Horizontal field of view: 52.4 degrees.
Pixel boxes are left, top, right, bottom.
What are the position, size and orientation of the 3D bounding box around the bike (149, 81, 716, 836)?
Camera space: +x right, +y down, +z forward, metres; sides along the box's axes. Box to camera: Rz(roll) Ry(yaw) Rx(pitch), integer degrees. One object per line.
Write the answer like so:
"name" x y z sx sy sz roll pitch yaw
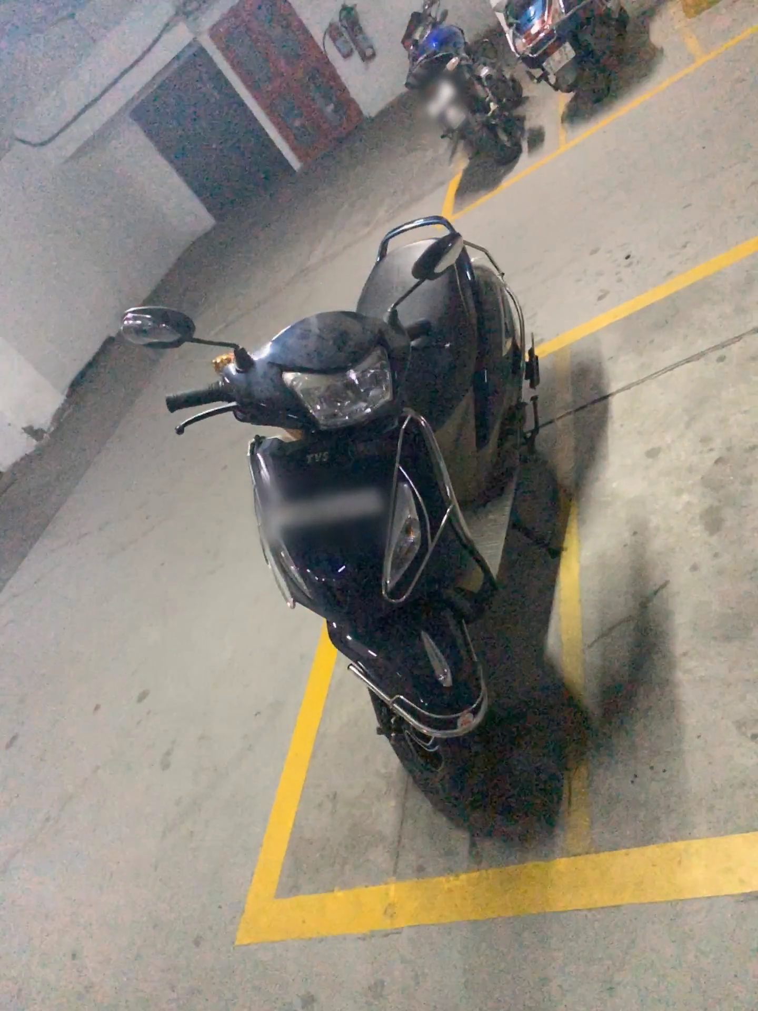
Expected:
"bike" 0.181 -0.244 2.143 0.666 1.027 1.699 -27 35 26
